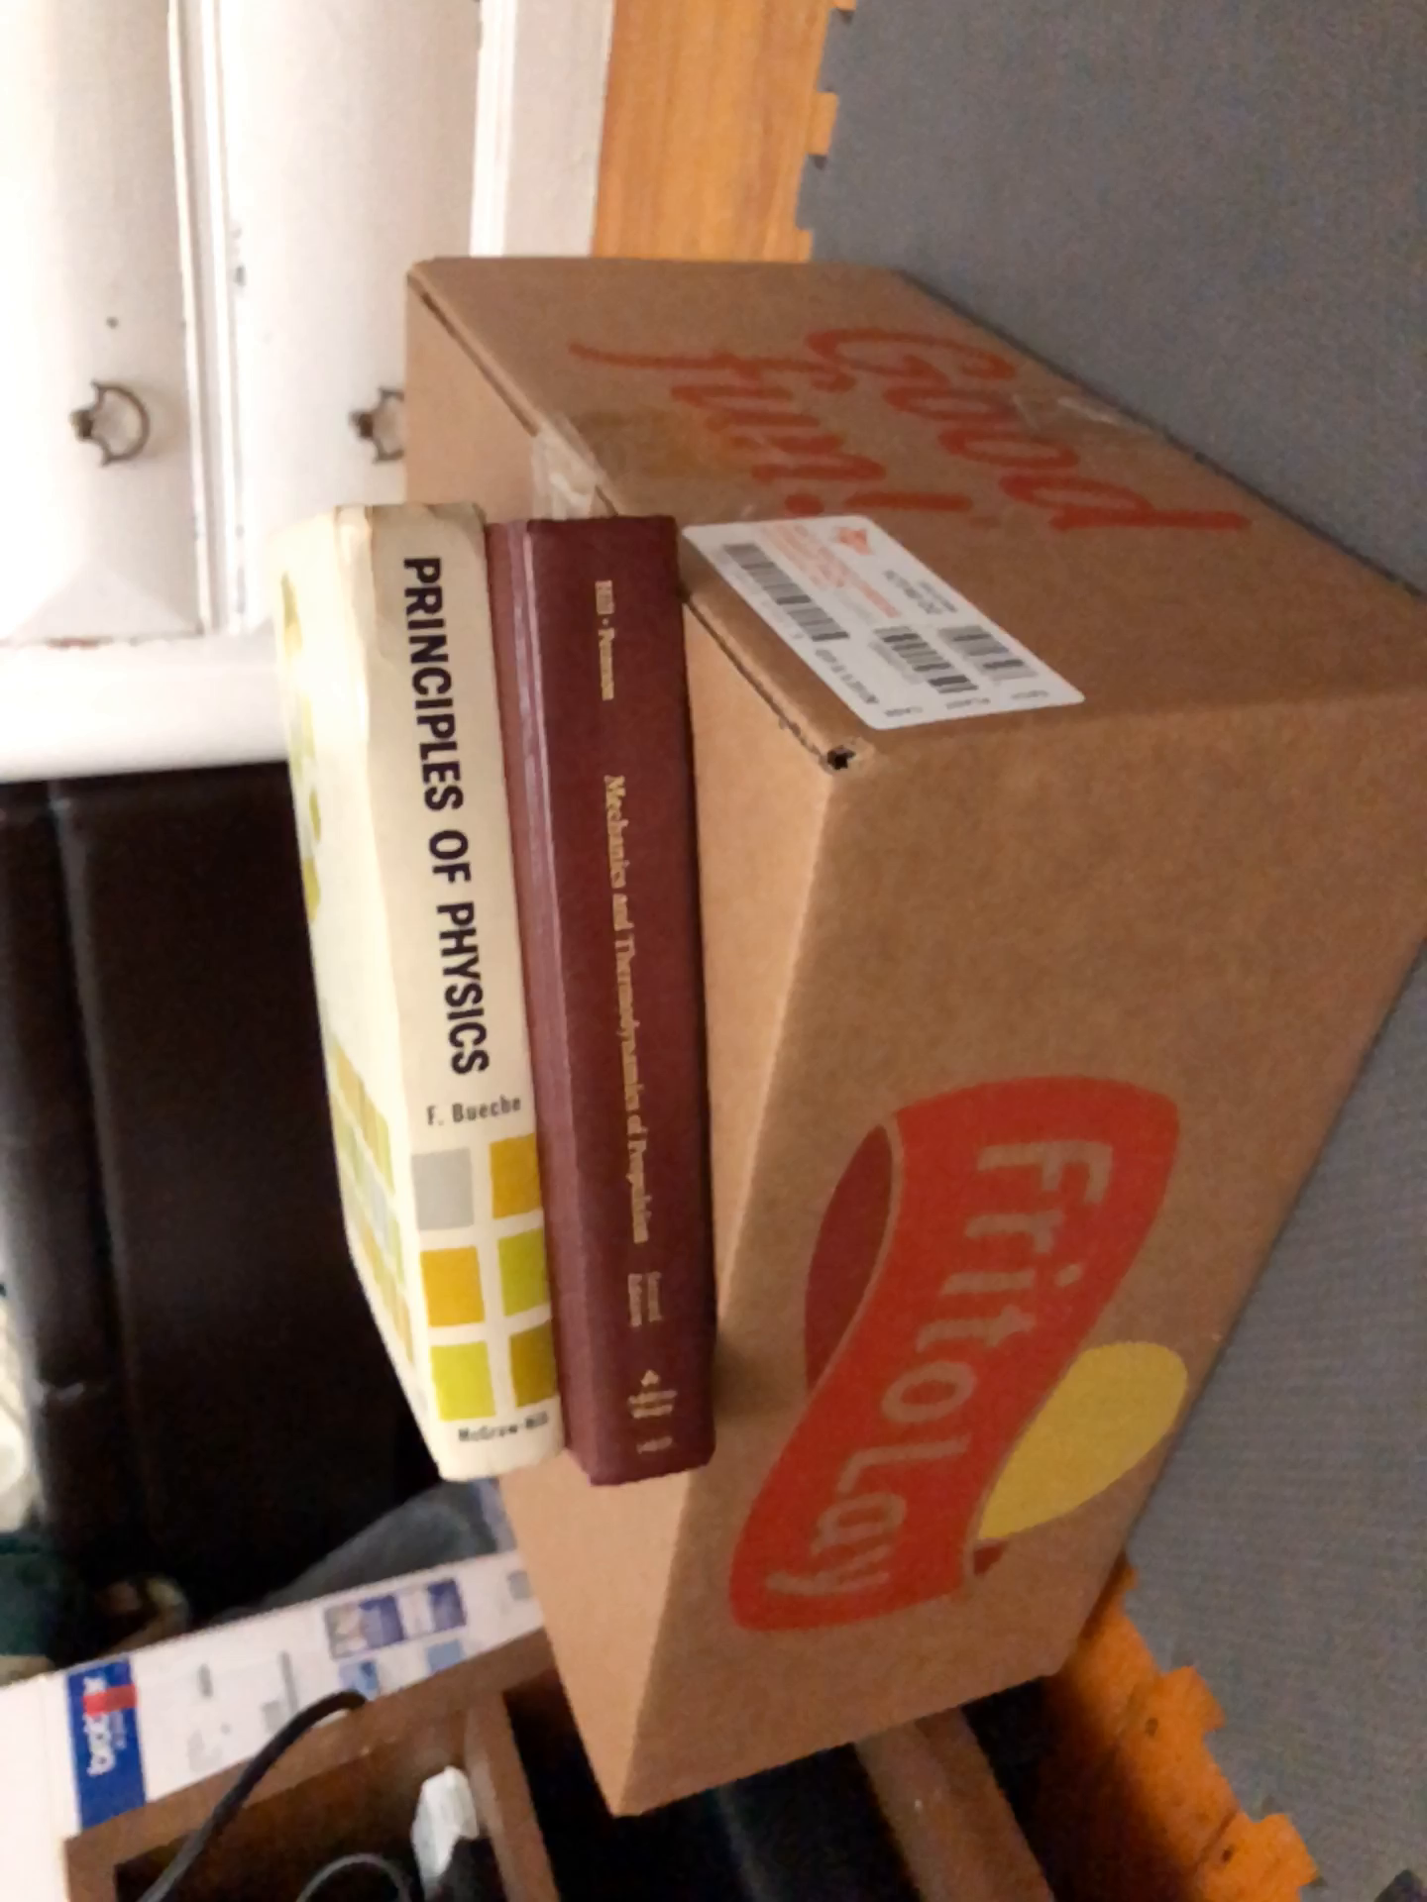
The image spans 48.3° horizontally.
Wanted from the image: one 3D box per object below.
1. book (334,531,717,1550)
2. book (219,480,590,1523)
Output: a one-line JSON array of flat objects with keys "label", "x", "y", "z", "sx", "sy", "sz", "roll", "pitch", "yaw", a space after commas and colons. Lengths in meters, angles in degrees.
[{"label": "book", "x": -0.059, "y": 0.009, "z": 0.460, "sx": 0.181, "sy": 0.040, "sz": 0.250, "roll": -148, "pitch": 52, "yaw": -63}, {"label": "book", "x": -0.094, "y": 0.002, "z": 0.458, "sx": 0.181, "sy": 0.040, "sz": 0.250, "roll": -154, "pitch": 57, "yaw": -64}]
